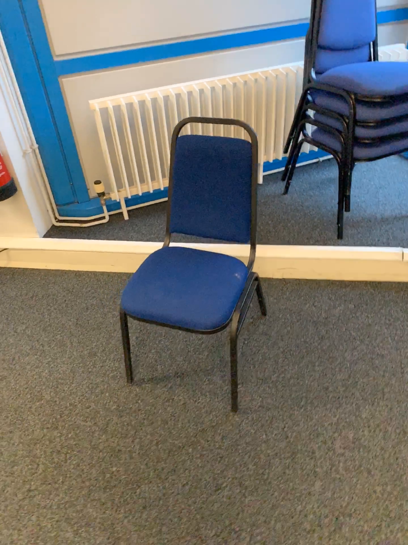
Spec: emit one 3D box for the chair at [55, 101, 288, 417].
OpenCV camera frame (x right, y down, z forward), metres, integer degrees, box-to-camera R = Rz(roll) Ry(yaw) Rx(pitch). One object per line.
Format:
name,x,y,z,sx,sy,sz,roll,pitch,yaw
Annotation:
chair,-0.026,-0.051,1.431,0.473,0.843,0.579,10,41,17
